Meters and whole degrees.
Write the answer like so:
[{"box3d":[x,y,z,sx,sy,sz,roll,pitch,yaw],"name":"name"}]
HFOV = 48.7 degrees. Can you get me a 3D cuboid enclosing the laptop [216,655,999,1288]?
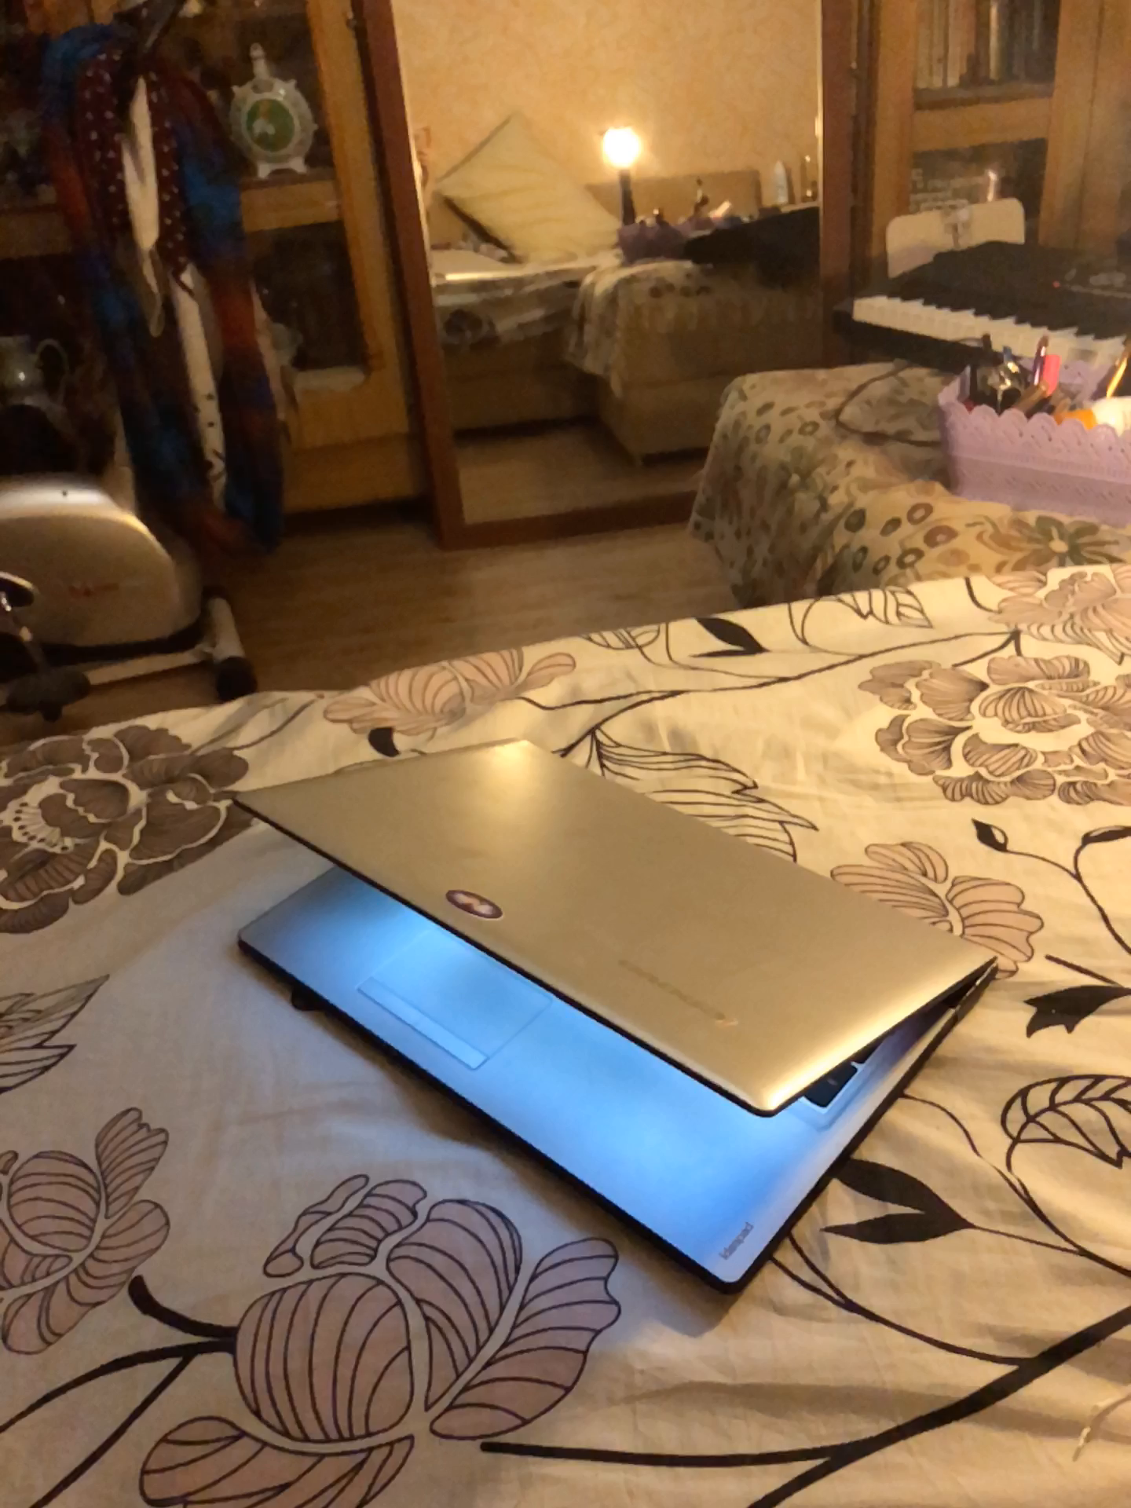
[{"box3d":[0.015,0.082,0.726,0.381,0.082,0.257,23,42,38],"name":"laptop"}]
